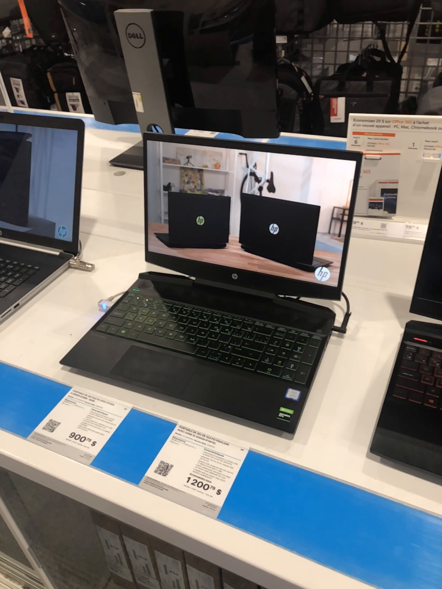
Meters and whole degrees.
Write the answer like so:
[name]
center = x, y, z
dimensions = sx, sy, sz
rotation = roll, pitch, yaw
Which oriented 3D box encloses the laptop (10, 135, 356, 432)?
[laptop]
center = -0.022, -0.049, 0.711
dimensions = 0.355, 0.232, 0.317
rotation = 12, 39, 19
